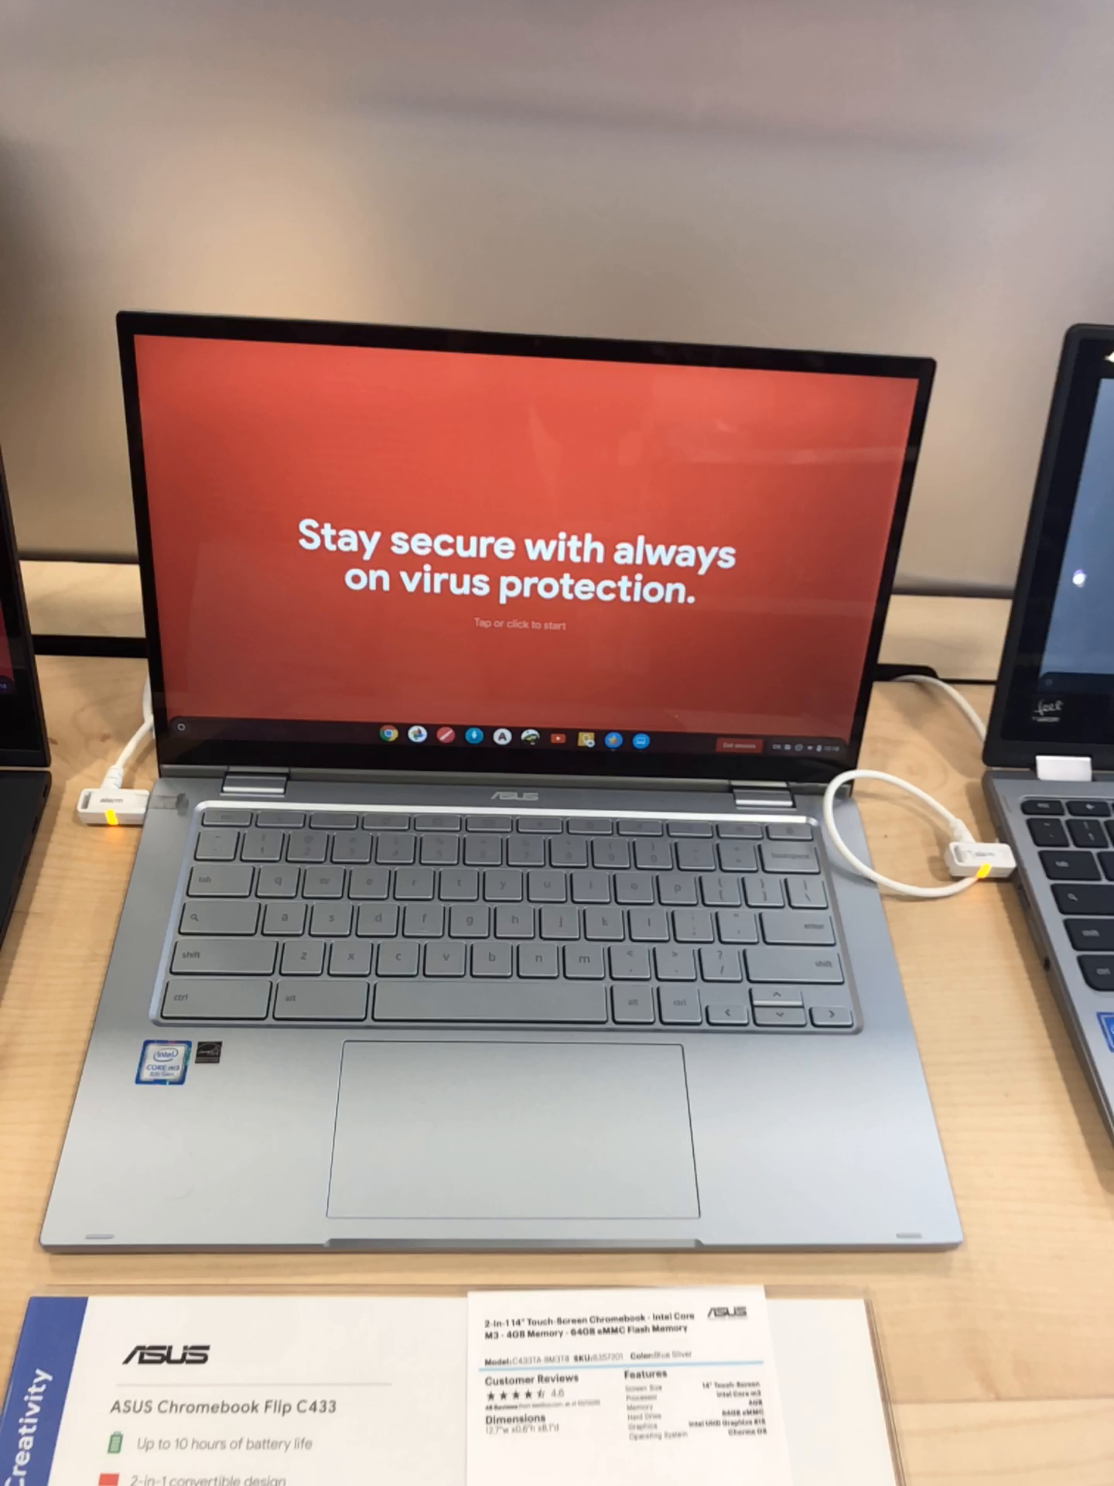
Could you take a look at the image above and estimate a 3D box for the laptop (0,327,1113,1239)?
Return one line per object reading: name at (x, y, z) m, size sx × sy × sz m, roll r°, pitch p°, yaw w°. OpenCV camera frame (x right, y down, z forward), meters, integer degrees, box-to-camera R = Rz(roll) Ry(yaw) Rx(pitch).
laptop at (-0.010, 0.001, 0.454) m, size 0.309 × 0.174 × 0.283 m, roll 1°, pitch 47°, yaw -5°
